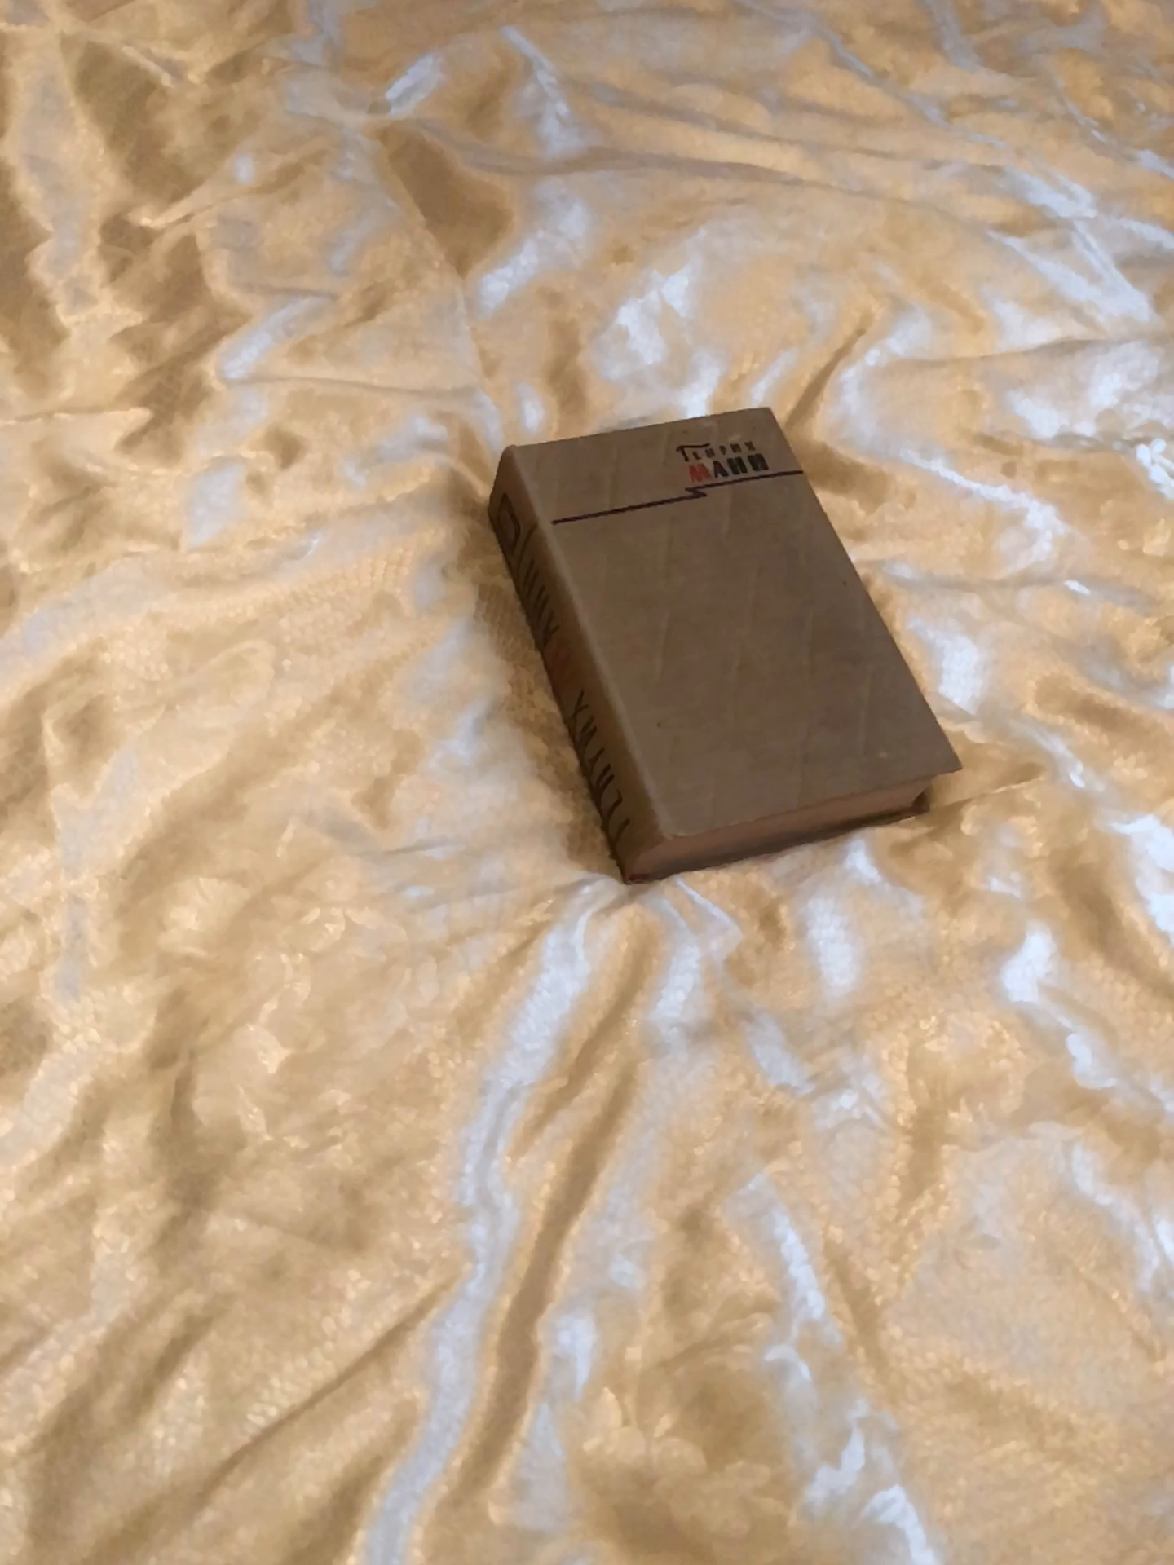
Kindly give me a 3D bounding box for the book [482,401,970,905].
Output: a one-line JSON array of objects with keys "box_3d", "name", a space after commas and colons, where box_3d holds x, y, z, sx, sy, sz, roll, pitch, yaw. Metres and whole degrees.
[{"box_3d": [0.051, -0.065, 0.569, 0.142, 0.051, 0.208, -13, 62, -14], "name": "book"}]
